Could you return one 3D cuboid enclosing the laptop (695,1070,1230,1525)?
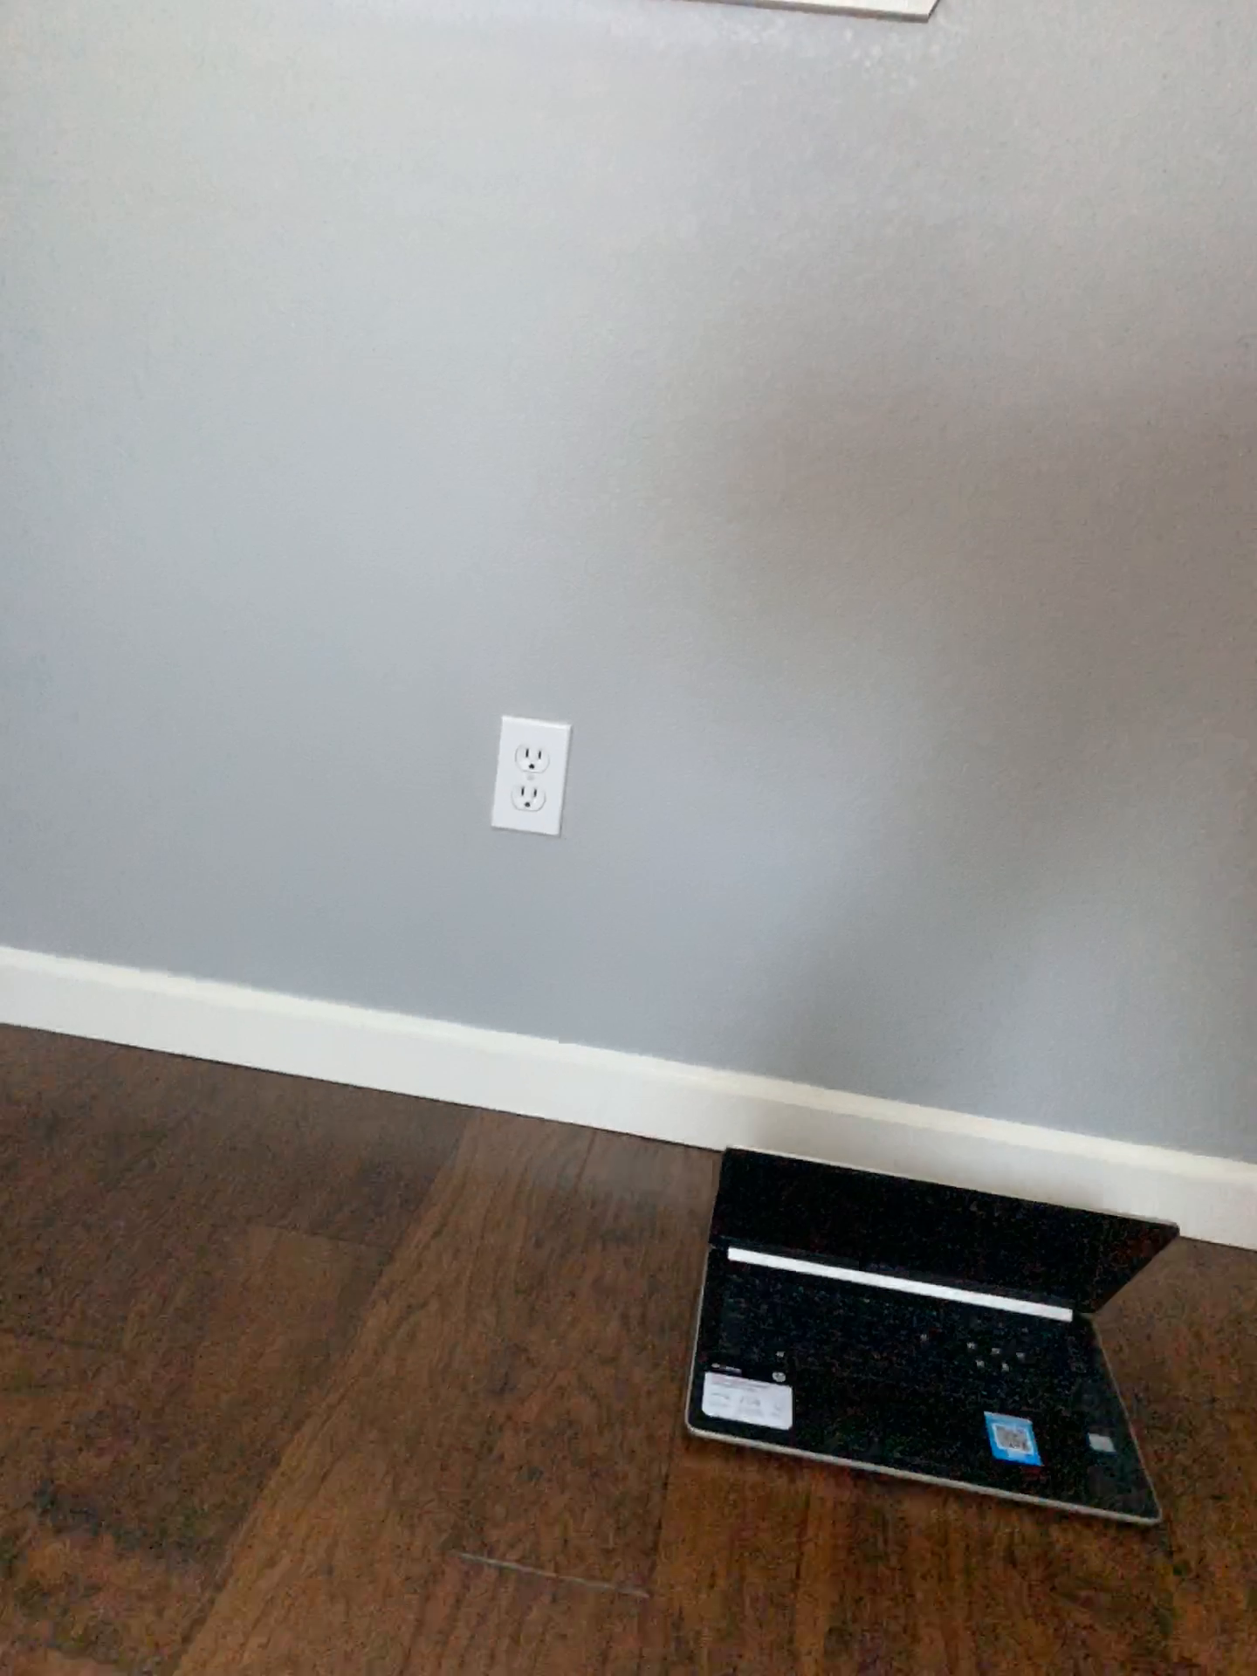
[{"bbox_3d":[0.224,0.323,0.952,0.317,0.169,0.220,9,15,5],"label":"laptop"}]
